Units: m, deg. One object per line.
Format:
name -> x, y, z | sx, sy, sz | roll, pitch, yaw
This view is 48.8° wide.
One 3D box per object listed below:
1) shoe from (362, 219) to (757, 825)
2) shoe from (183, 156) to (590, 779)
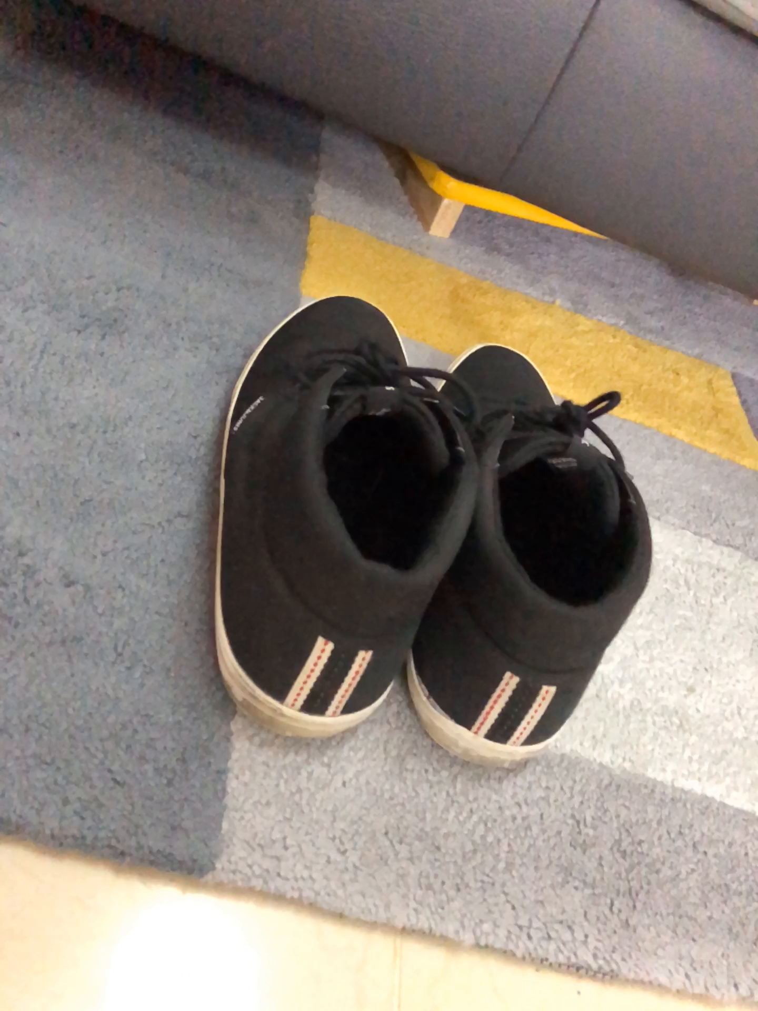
shoe -> 0.081, -0.010, 0.433 | 0.110, 0.129, 0.282 | 20, 41, -11
shoe -> -0.003, -0.037, 0.396 | 0.110, 0.109, 0.282 | 16, 42, -16
